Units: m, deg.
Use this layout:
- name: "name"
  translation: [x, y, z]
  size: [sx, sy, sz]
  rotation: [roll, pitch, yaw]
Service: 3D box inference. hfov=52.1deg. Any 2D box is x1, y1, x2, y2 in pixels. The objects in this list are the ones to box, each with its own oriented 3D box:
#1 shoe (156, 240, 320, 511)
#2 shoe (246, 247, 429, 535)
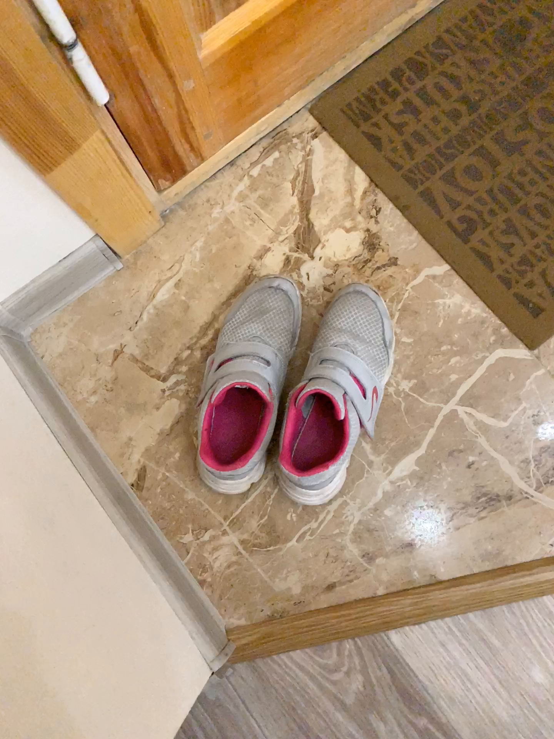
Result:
- name: "shoe"
  translation: [-0.032, 0.009, 0.597]
  size: [0.100, 0.100, 0.250]
  rotation: [13, 81, 7]
- name: "shoe"
  translation: [0.064, 0.023, 0.591]
  size: [0.100, 0.100, 0.260]
  rotation: [18, 82, 8]
